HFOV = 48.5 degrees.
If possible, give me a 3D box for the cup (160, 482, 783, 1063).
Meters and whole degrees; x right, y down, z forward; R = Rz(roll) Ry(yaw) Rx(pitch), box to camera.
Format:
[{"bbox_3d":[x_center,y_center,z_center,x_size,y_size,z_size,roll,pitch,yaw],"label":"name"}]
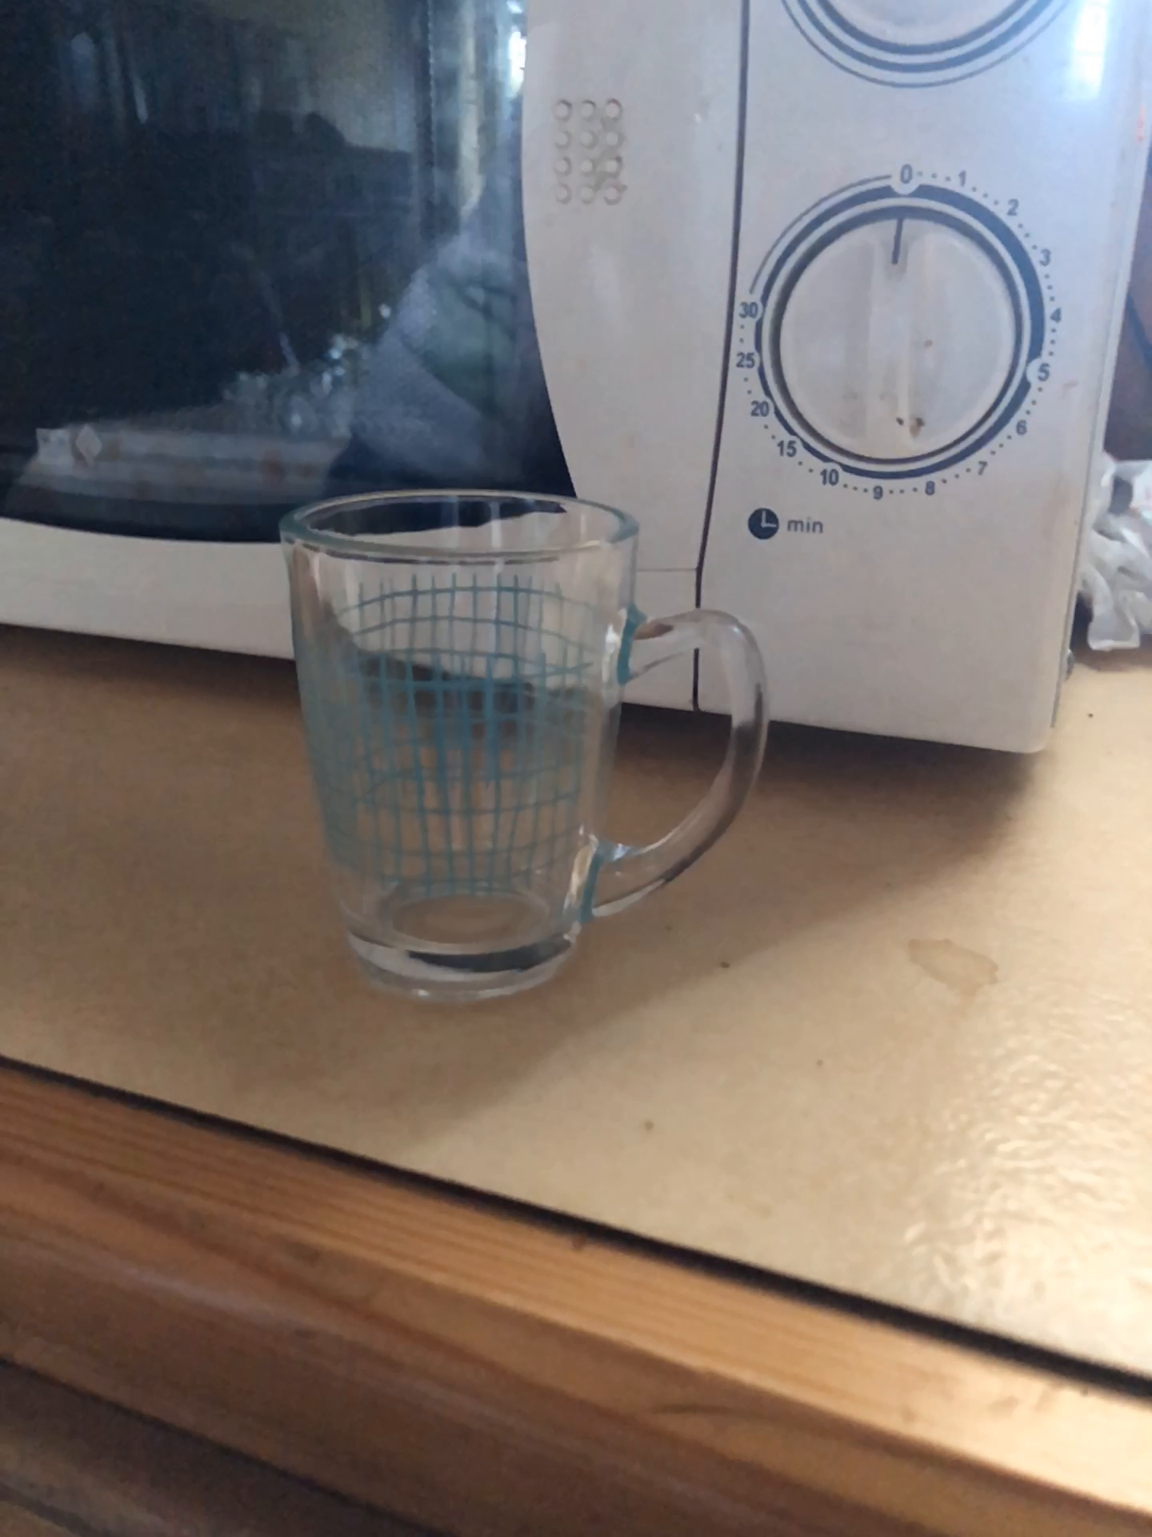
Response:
[{"bbox_3d":[-0.013,-0.005,0.213,0.080,0.070,0.060,8,22,17],"label":"cup"}]
